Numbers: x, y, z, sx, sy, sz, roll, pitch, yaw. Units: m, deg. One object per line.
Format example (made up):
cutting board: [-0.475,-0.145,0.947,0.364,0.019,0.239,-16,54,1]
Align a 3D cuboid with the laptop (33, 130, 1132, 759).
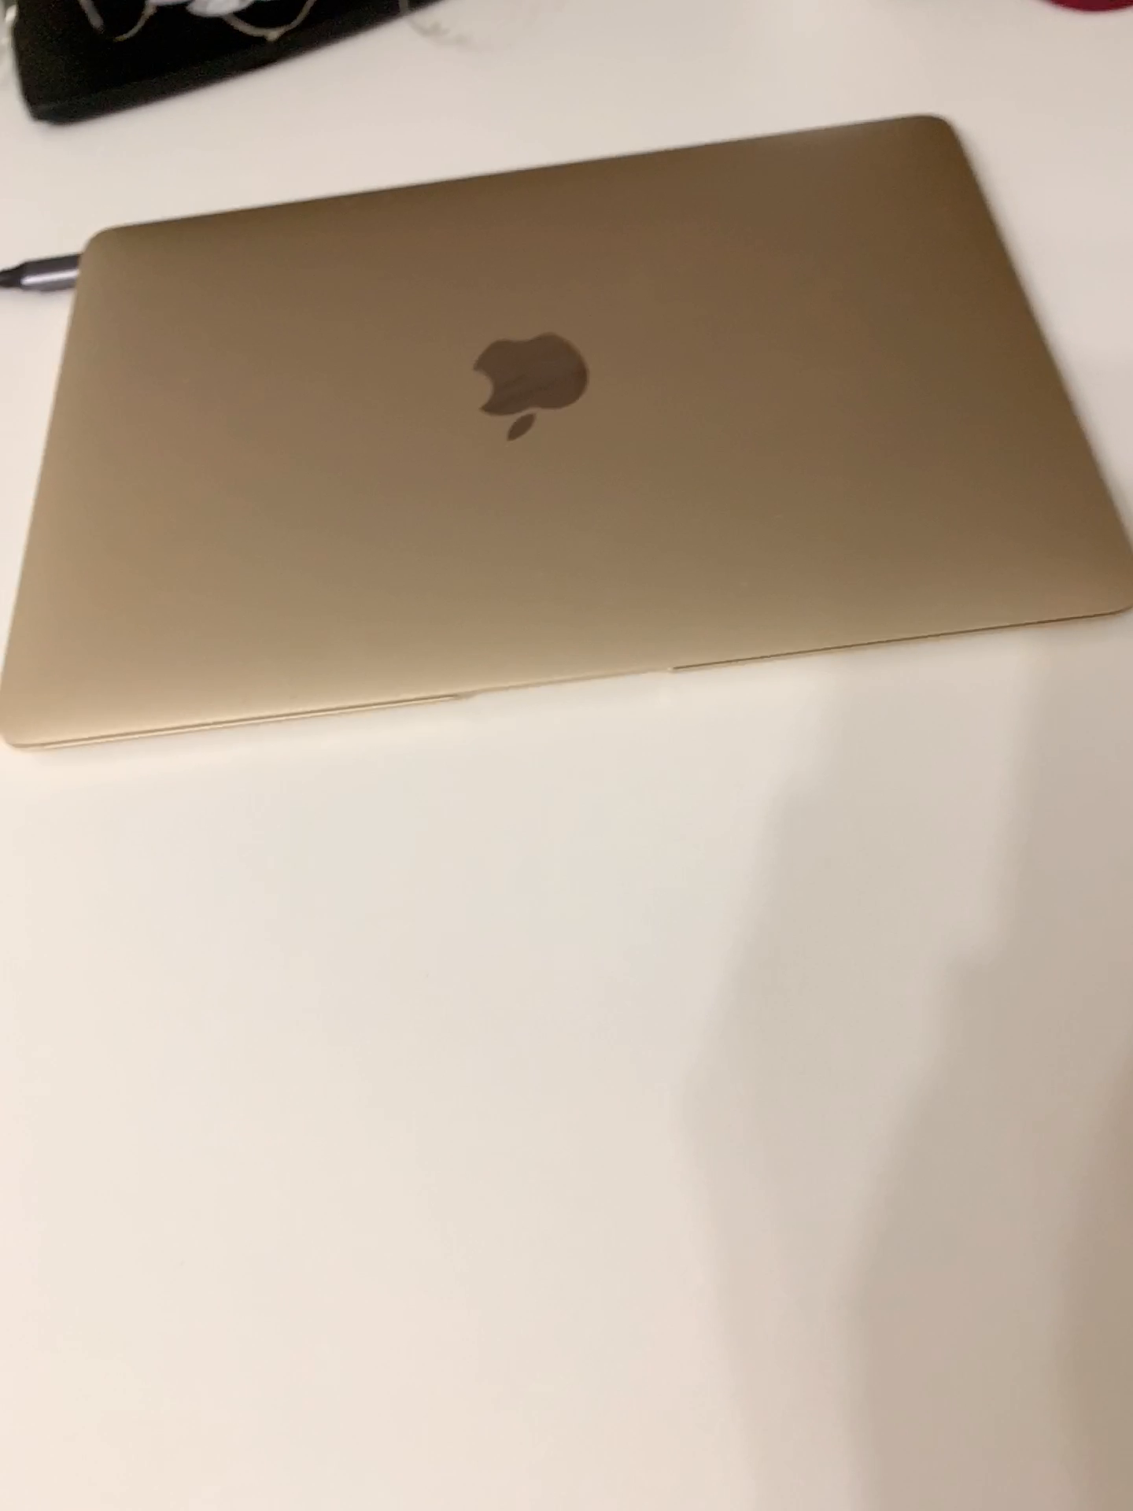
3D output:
laptop: [-0.004,-0.093,0.316,0.255,0.013,0.174,-7,61,0]
